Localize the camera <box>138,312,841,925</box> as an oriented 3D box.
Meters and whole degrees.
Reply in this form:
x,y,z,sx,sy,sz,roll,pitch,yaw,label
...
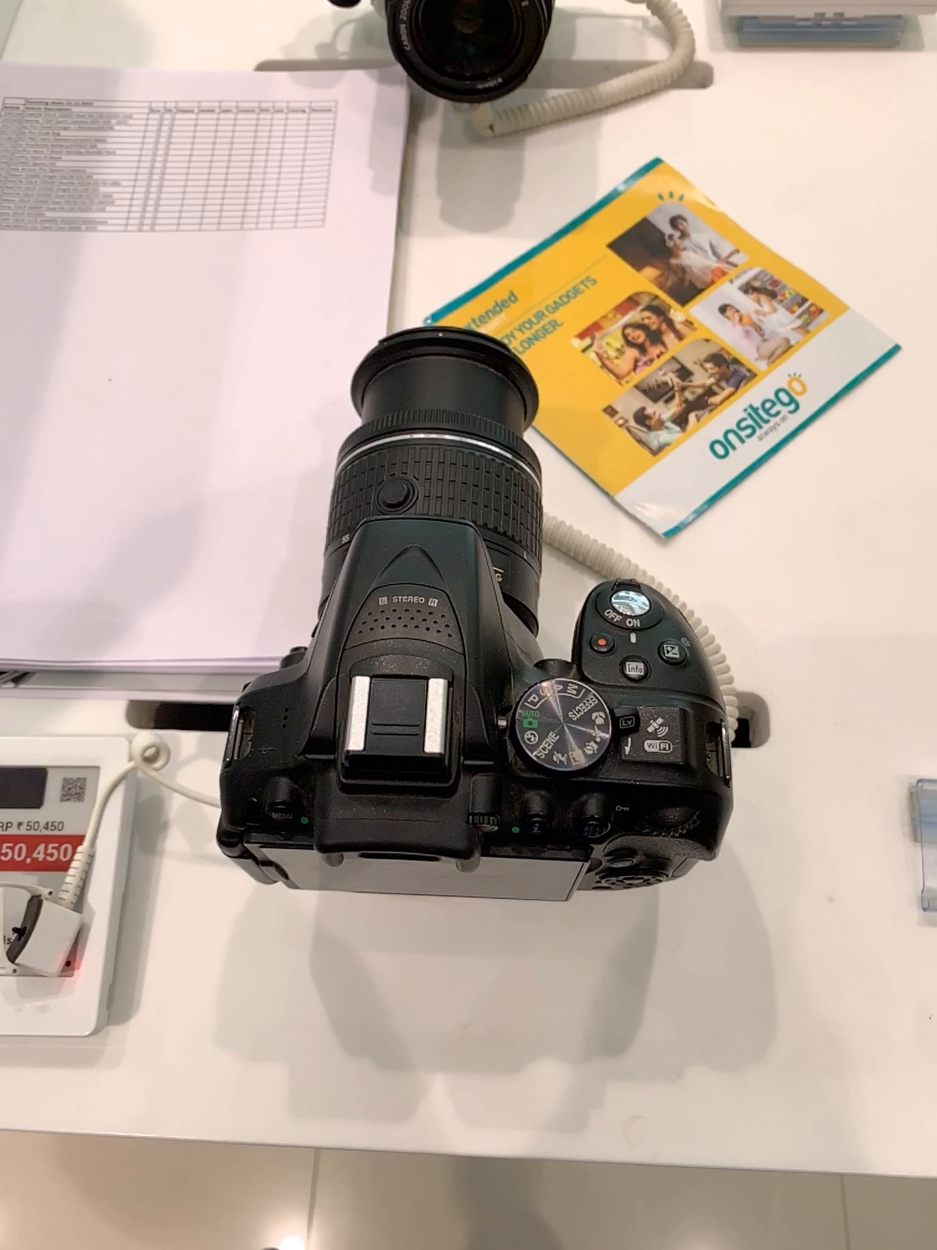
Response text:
x,y,z,sx,sy,sz,roll,pitch,yaw,label
0.007,0.005,0.230,0.118,0.100,0.107,3,65,3,camera
